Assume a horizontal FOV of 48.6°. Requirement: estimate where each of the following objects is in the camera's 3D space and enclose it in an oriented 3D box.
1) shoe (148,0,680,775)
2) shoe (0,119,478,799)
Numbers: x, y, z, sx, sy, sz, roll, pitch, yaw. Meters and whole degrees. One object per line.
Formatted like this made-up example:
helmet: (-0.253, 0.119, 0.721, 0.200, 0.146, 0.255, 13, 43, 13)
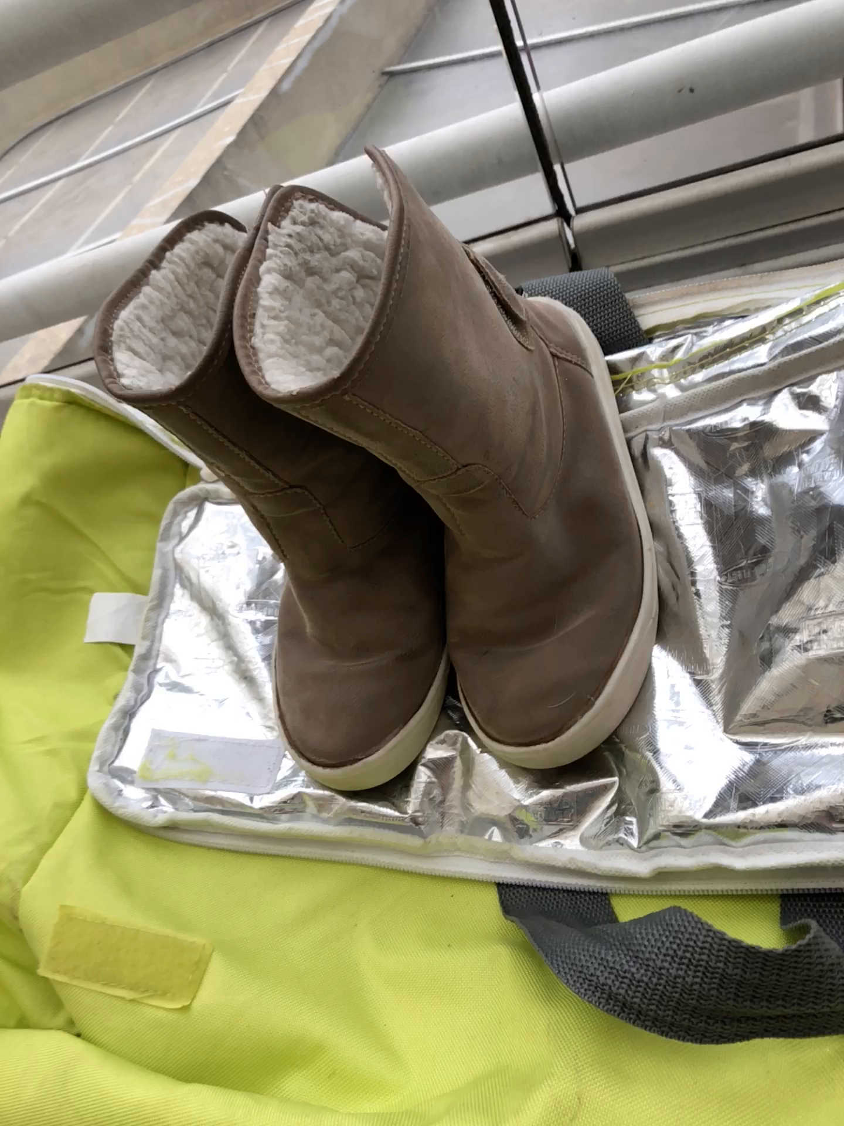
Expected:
shoe: (0.010, -0.042, 0.311, 0.089, 0.169, 0.201, -11, 69, 26)
shoe: (-0.056, -0.016, 0.348, 0.090, 0.169, 0.191, -9, 70, 27)
